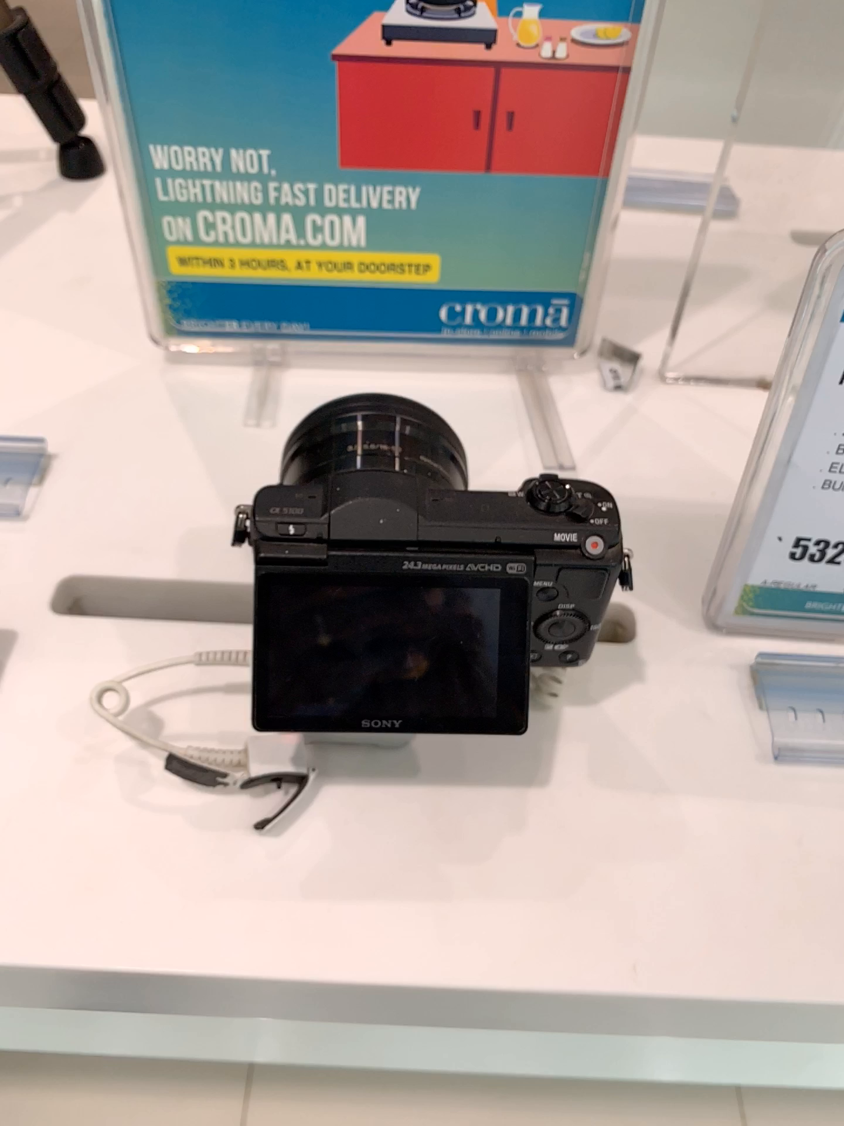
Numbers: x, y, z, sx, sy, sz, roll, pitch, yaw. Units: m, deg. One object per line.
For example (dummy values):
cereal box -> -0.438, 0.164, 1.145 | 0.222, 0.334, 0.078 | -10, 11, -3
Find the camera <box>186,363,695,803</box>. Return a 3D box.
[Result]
camera -> 0.003, 0.006, 0.250 | 0.110, 0.082, 0.088 | 3, 48, -2
